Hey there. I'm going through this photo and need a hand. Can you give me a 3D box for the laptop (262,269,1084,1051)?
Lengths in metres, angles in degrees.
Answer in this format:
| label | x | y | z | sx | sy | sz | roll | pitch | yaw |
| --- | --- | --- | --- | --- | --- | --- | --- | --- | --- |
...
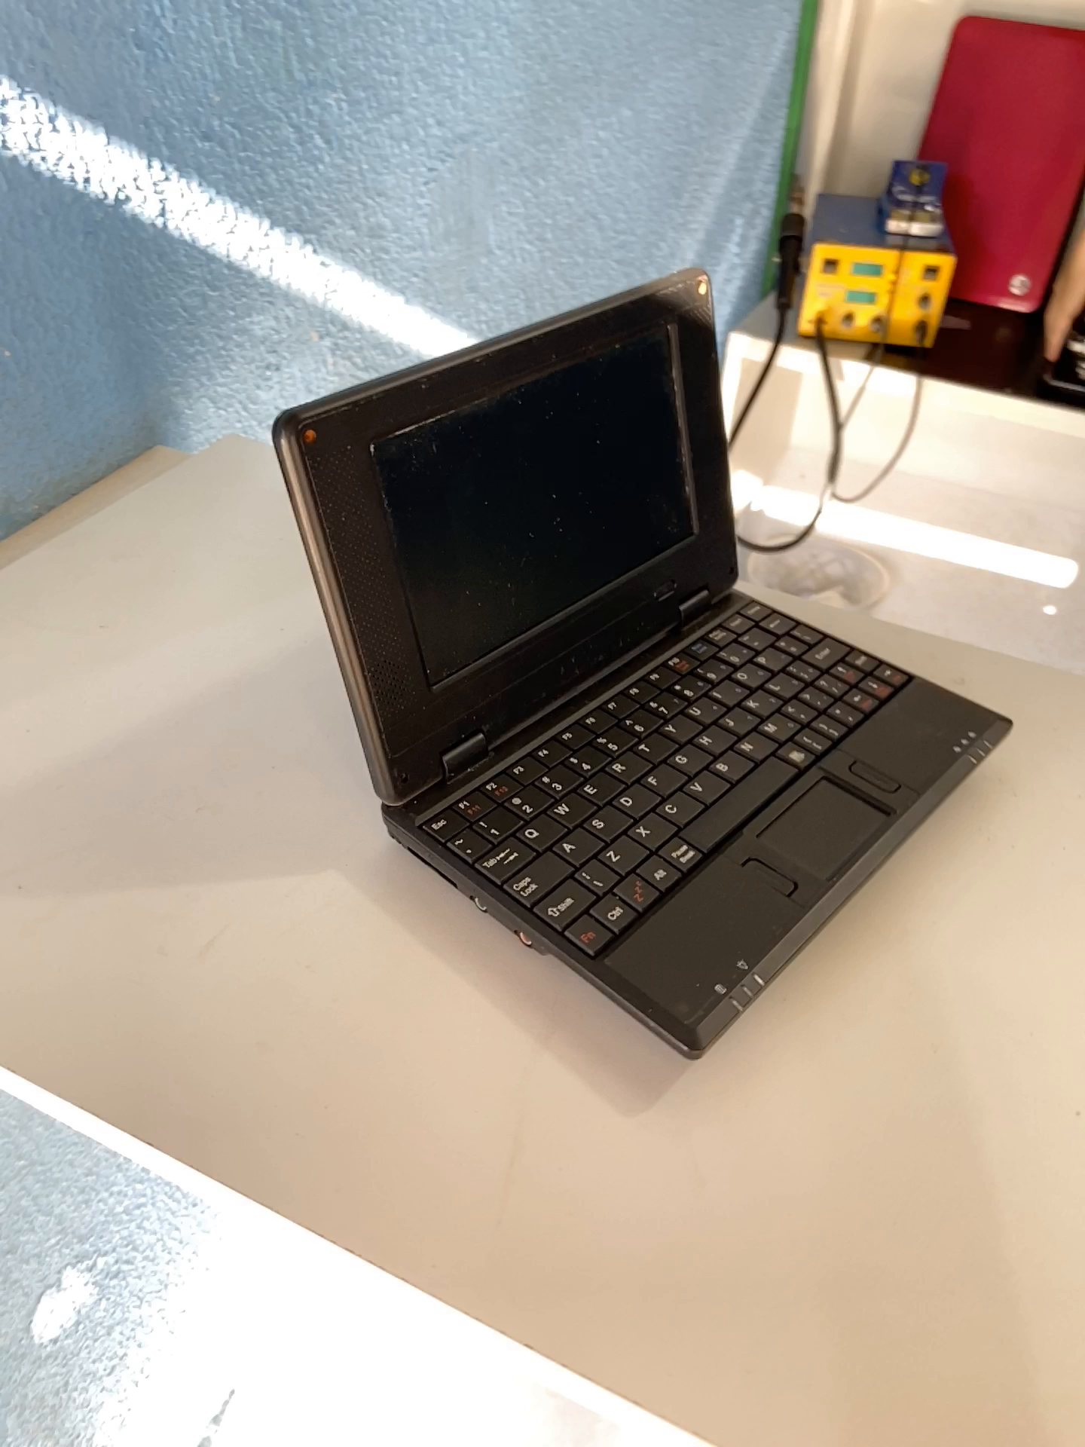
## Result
| label | x | y | z | sx | sy | sz | roll | pitch | yaw |
| --- | --- | --- | --- | --- | --- | --- | --- | --- | --- |
| laptop | 0.054 | -0.045 | 0.396 | 0.179 | 0.137 | 0.217 | 32 | 48 | 30 |
